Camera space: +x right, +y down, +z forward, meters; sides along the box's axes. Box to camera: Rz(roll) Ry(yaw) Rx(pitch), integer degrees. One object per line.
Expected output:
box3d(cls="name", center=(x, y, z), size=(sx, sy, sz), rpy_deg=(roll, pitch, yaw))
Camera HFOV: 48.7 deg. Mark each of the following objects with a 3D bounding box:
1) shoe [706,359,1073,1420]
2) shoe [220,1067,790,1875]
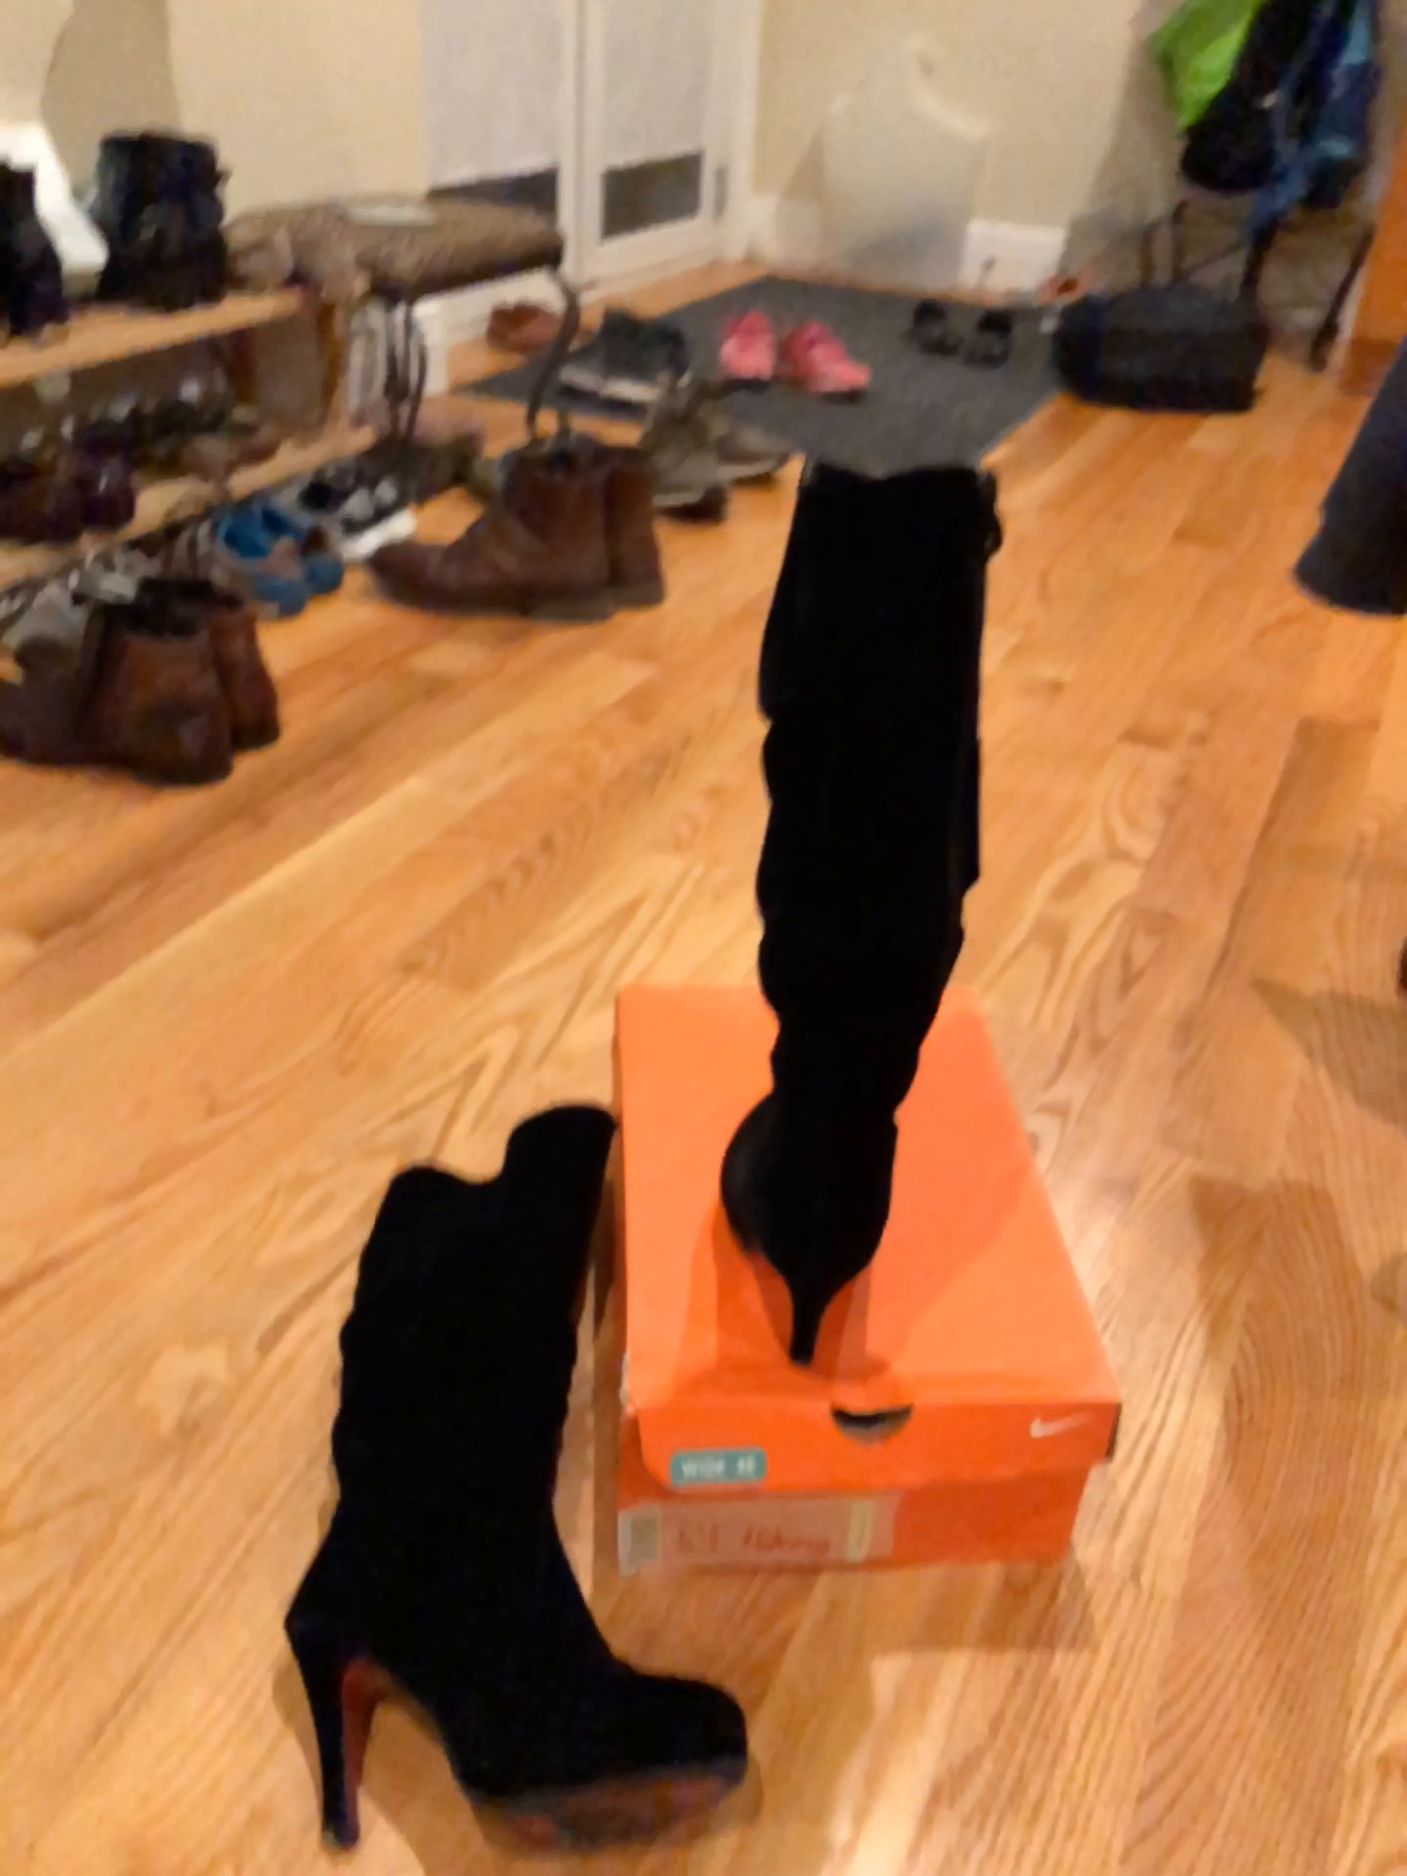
box3d(cls="shoe", center=(0.059, -0.016, 0.671), size=(0.089, 0.397, 0.217), rpy_deg=(3, 32, -1))
box3d(cls="shoe", center=(-0.087, 0.222, 0.758), size=(0.206, 0.089, 0.401), rpy_deg=(-1, 32, -5))
